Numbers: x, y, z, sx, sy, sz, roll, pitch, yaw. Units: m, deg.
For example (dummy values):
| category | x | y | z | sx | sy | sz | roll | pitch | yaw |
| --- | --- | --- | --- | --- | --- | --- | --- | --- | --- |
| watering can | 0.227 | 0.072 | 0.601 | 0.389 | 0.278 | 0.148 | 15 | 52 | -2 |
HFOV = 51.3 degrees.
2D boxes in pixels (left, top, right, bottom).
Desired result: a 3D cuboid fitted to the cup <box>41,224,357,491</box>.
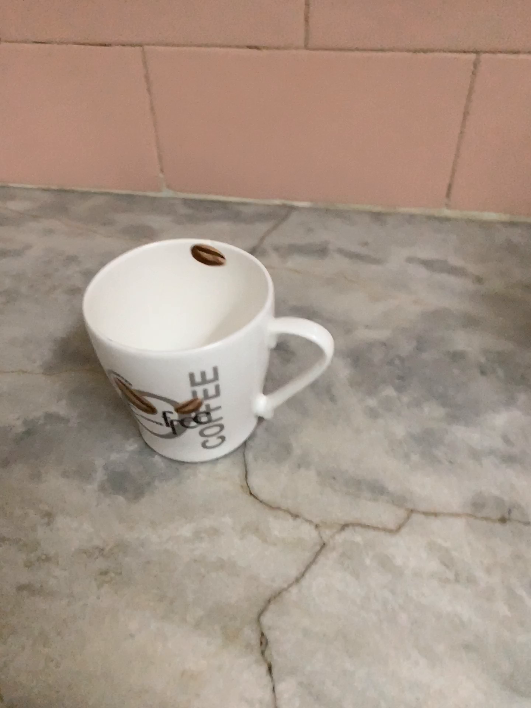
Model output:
| category | x | y | z | sx | sy | sz | roll | pitch | yaw |
| --- | --- | --- | --- | --- | --- | --- | --- | --- | --- |
| cup | -0.018 | -0.001 | 0.224 | 0.100 | 0.070 | 0.070 | 5 | 44 | 8 |
